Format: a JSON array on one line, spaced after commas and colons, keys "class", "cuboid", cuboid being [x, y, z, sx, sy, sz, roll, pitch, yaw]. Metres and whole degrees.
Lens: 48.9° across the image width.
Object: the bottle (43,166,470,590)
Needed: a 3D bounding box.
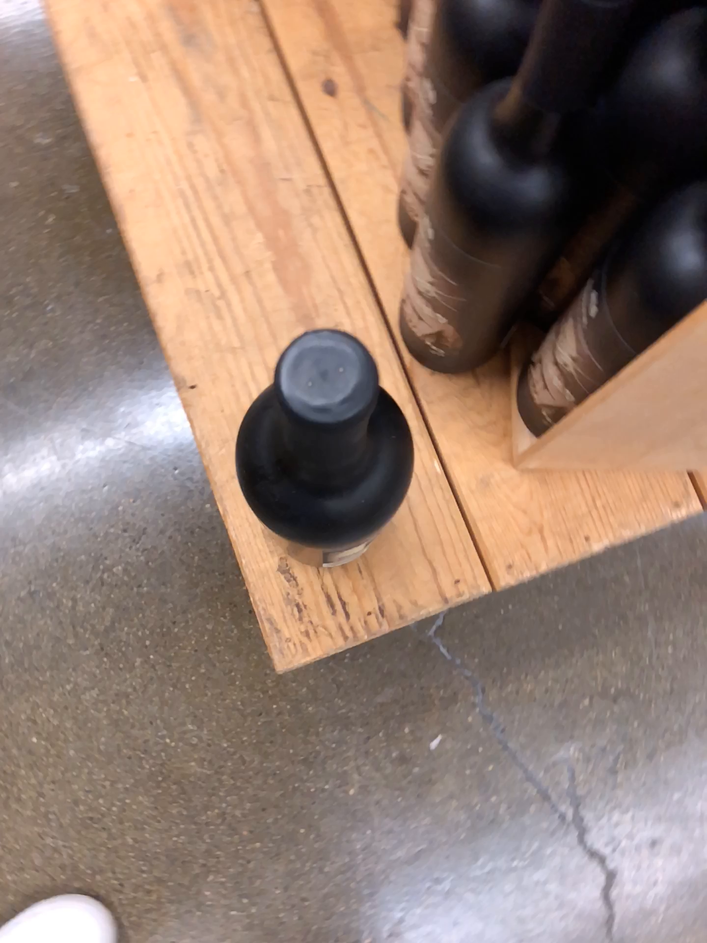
[{"class": "bottle", "cuboid": [-0.029, -0.004, 0.348, 0.080, 0.300, 0.080, 0, 81, -2]}]
